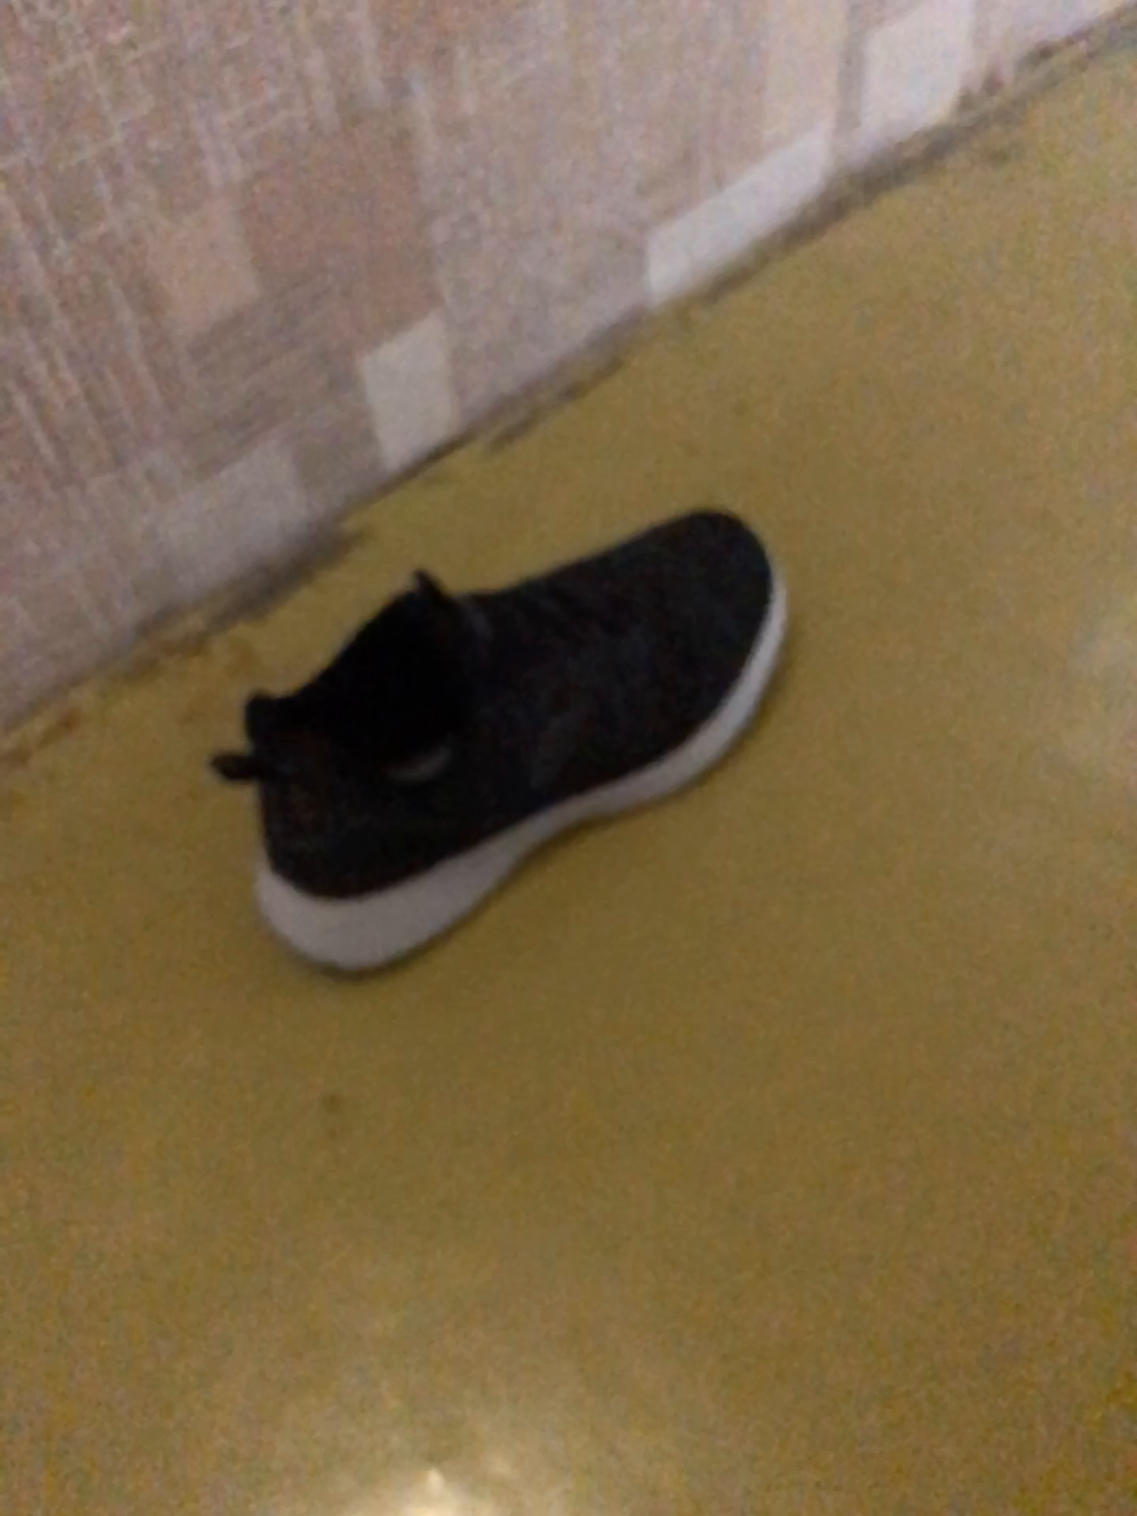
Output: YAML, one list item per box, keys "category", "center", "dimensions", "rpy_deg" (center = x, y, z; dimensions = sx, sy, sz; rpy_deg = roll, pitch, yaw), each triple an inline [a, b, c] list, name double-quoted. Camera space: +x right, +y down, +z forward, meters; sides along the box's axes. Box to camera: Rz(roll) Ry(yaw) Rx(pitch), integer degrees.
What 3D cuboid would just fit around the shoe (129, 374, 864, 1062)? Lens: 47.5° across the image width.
- category: "shoe"
  center: [-0.018, -0.028, 0.614]
  dimensions: [0.320, 0.130, 0.120]
  rpy_deg: [-38, 59, -20]
